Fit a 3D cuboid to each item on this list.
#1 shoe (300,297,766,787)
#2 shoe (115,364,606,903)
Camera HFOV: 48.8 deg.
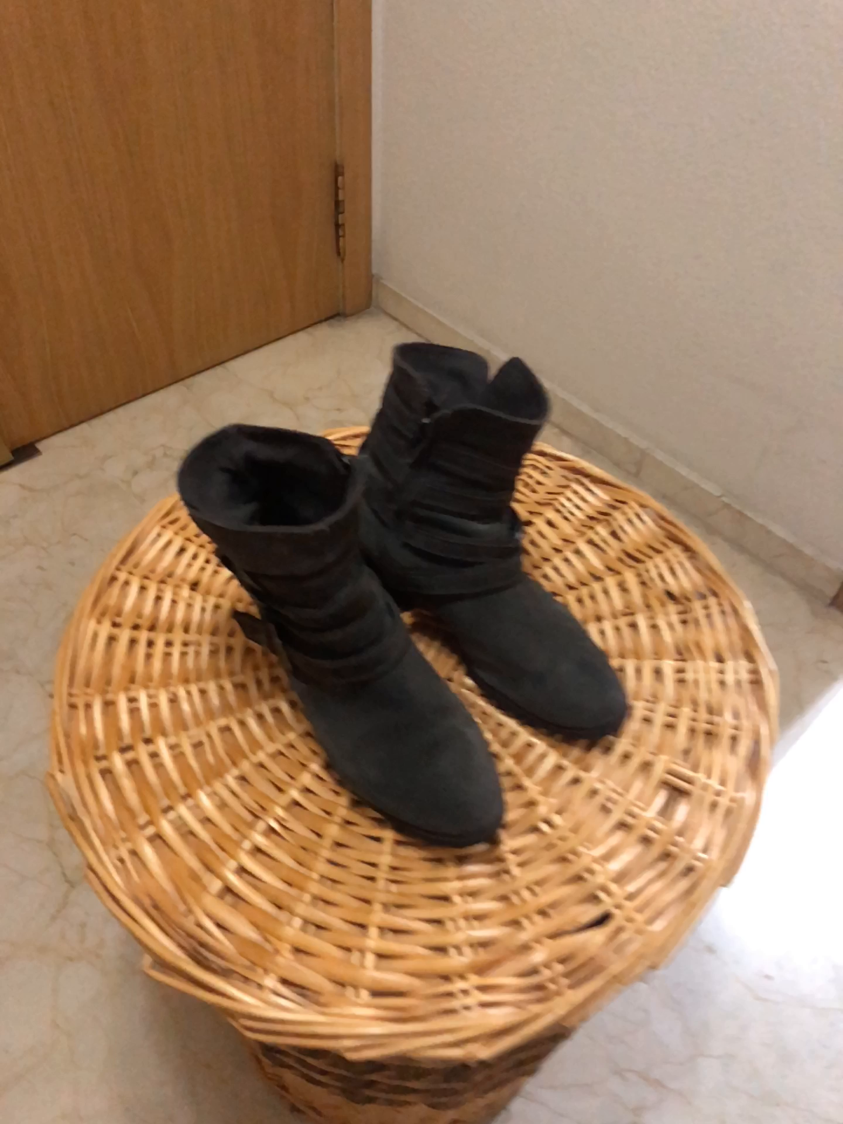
[{"bbox_3d":[0.050,-0.020,0.591,0.110,0.169,0.261,-32,56,-30],"label":"shoe"},{"bbox_3d":[-0.039,0.036,0.542,0.110,0.169,0.261,-37,58,-24],"label":"shoe"}]
